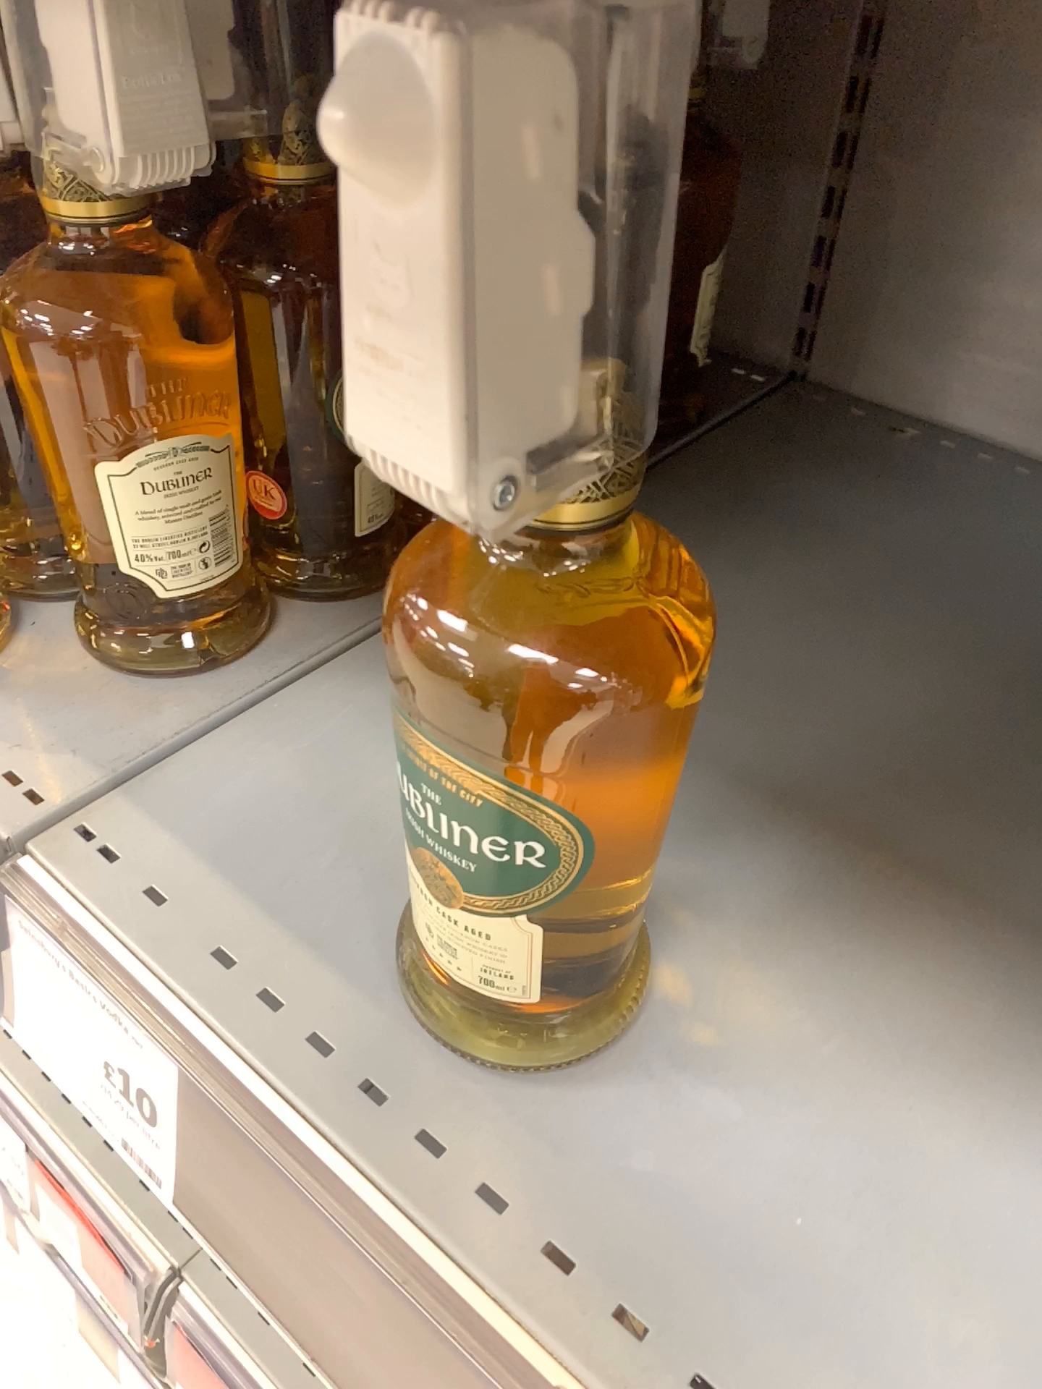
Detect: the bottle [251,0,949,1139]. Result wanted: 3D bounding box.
[{"bbox_3d":[0.007,-0.015,0.283,0.090,0.283,0.089,2,39,-2],"label":"bottle"}]
